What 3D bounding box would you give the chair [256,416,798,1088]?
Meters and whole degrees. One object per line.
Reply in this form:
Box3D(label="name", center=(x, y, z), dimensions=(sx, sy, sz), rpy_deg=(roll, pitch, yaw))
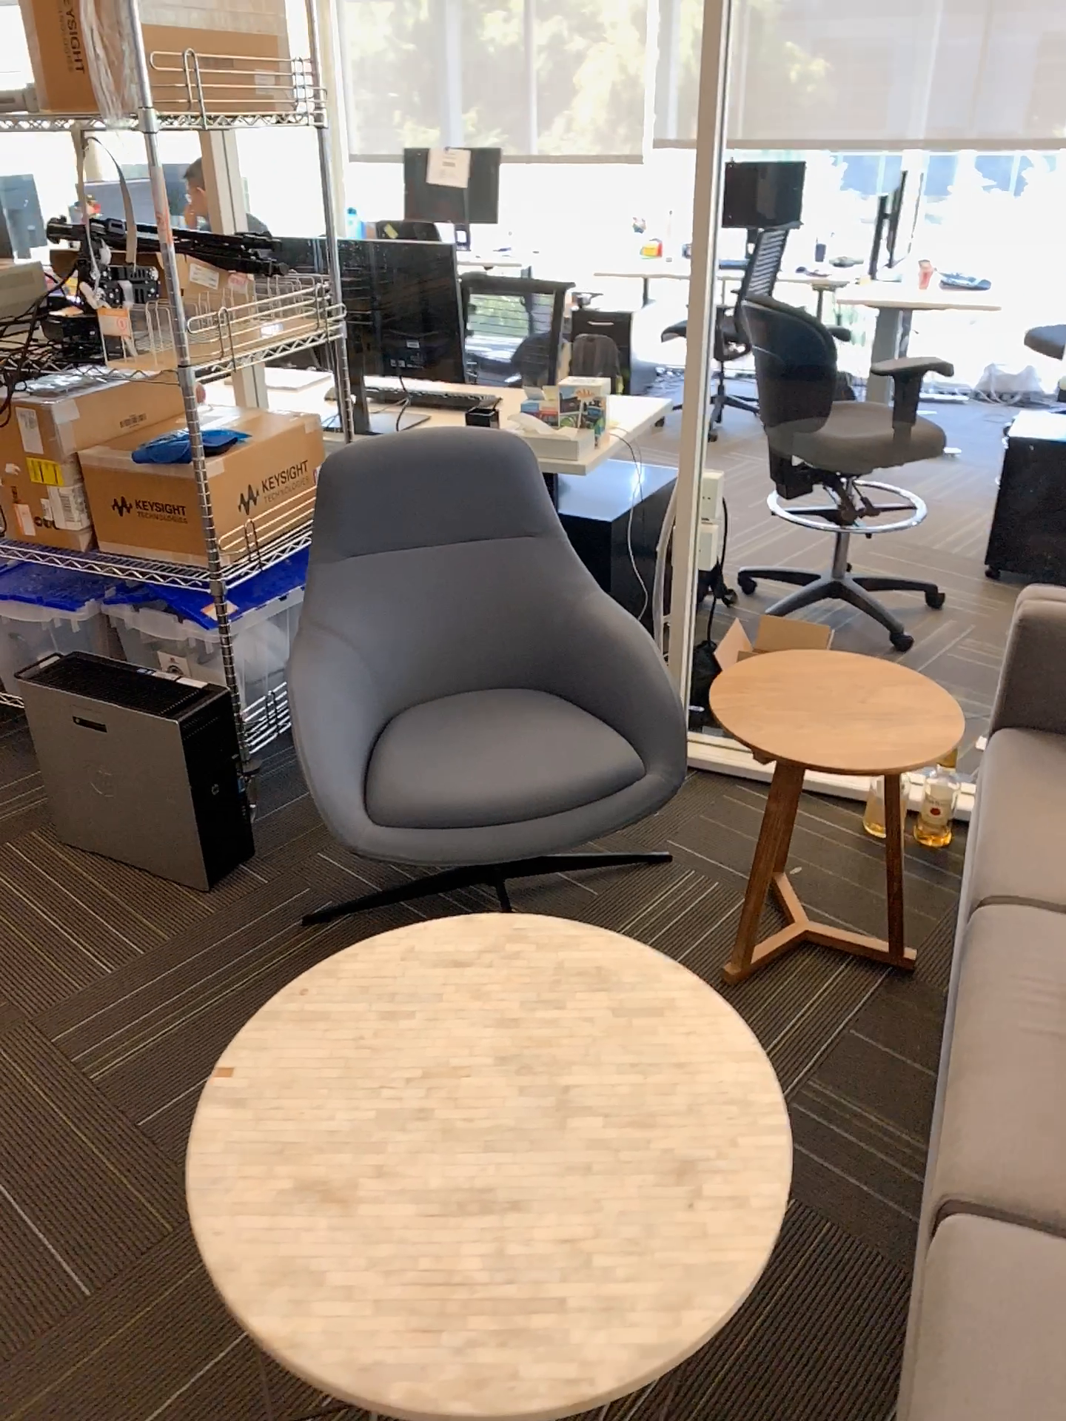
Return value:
Box3D(label="chair", center=(-0.092, 0.001, 2.336), dimensions=(0.840, 0.964, 1.006), rpy_deg=(-7, 29, -12))
